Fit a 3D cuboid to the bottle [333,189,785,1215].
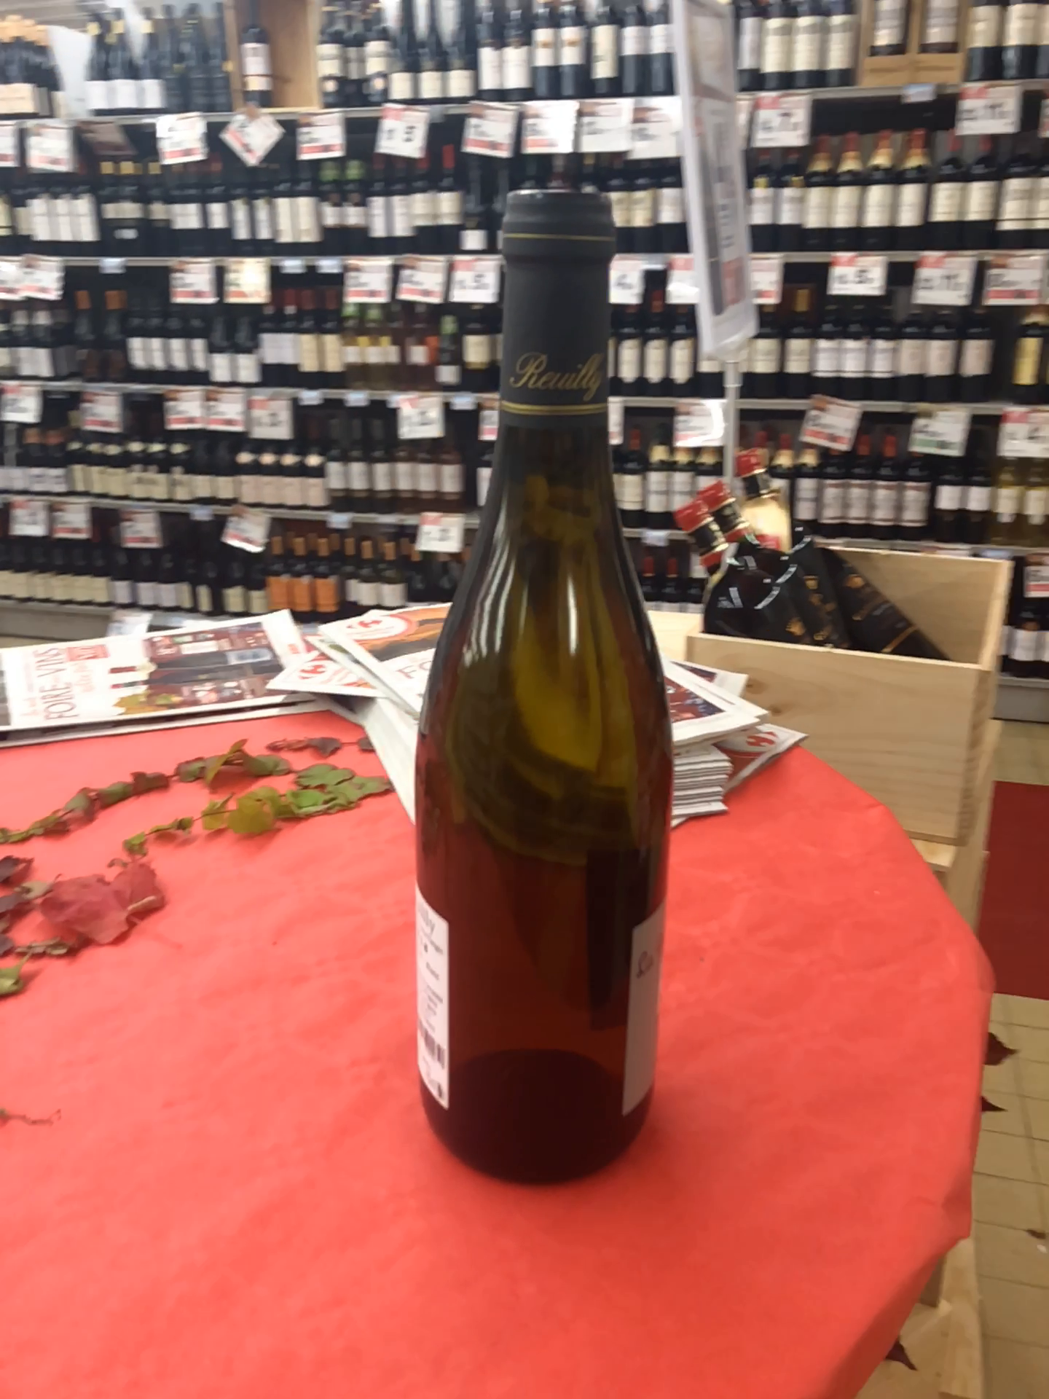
[{"bbox_3d":[0.006,0.001,0.345,0.090,0.279,0.090,-1,21,0],"label":"bottle"}]
